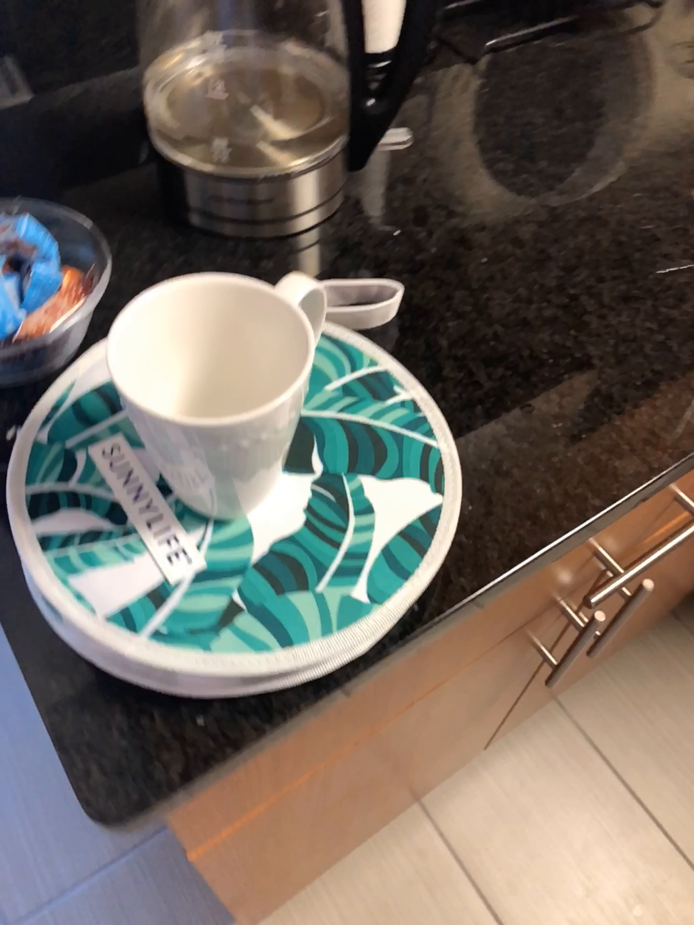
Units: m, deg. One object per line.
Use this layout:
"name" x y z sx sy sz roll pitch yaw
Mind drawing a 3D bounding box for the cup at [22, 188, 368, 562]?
"cup" -0.062 -0.044 0.366 0.090 0.090 0.130 23 56 13
